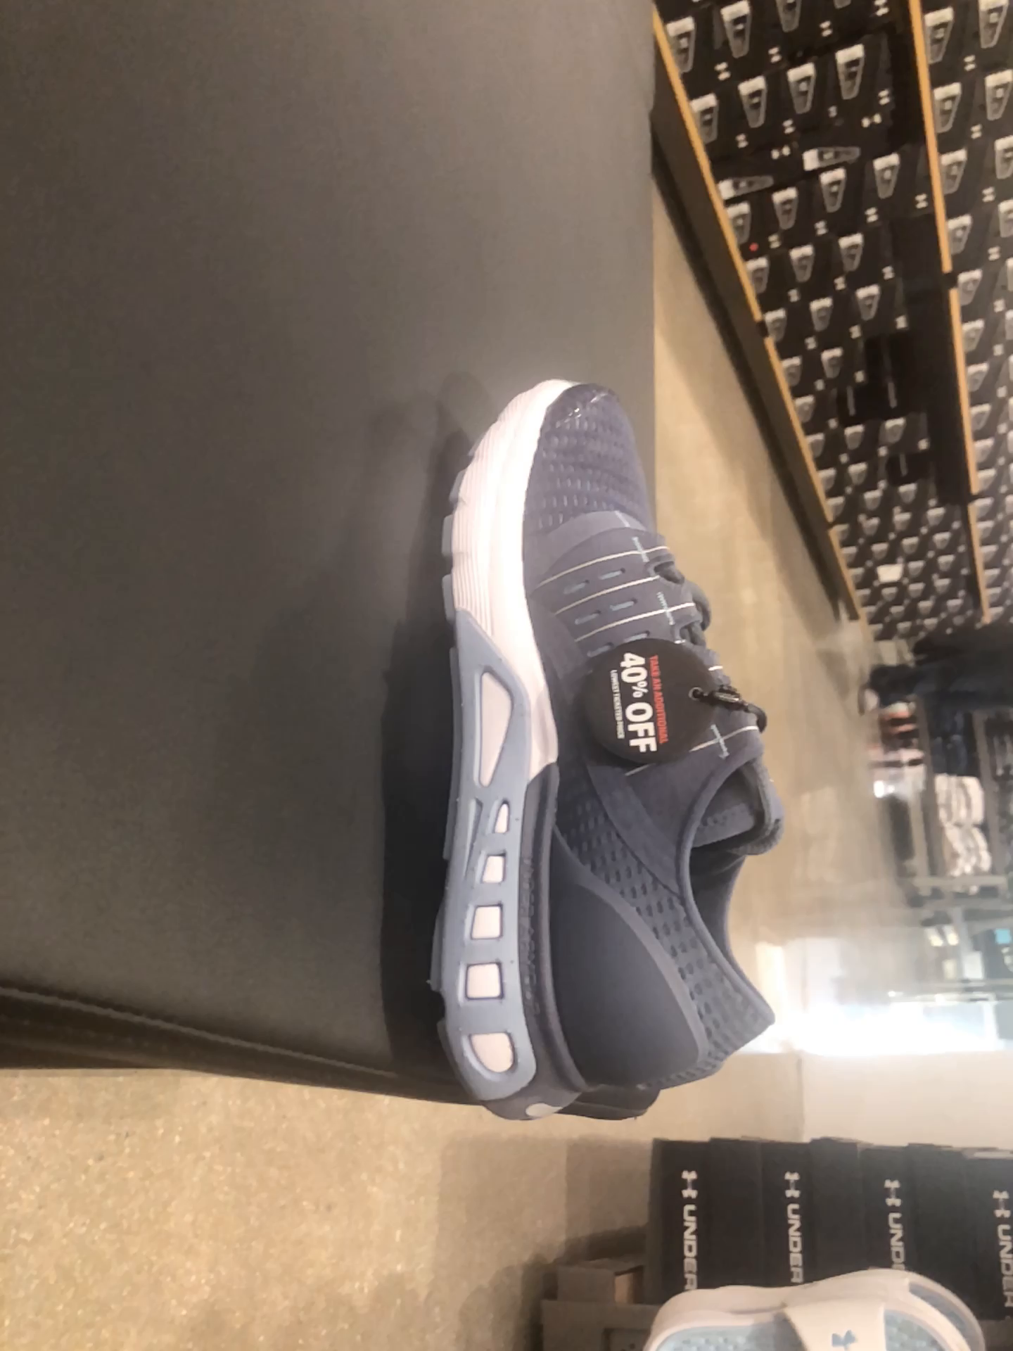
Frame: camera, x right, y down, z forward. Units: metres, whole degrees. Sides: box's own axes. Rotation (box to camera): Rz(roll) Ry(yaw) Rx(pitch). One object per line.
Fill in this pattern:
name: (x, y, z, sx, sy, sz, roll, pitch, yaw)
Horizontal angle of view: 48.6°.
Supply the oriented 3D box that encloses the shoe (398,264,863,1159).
shoe: (0.046, 0.016, 0.367, 0.121, 0.097, 0.254, 46, 41, -56)
